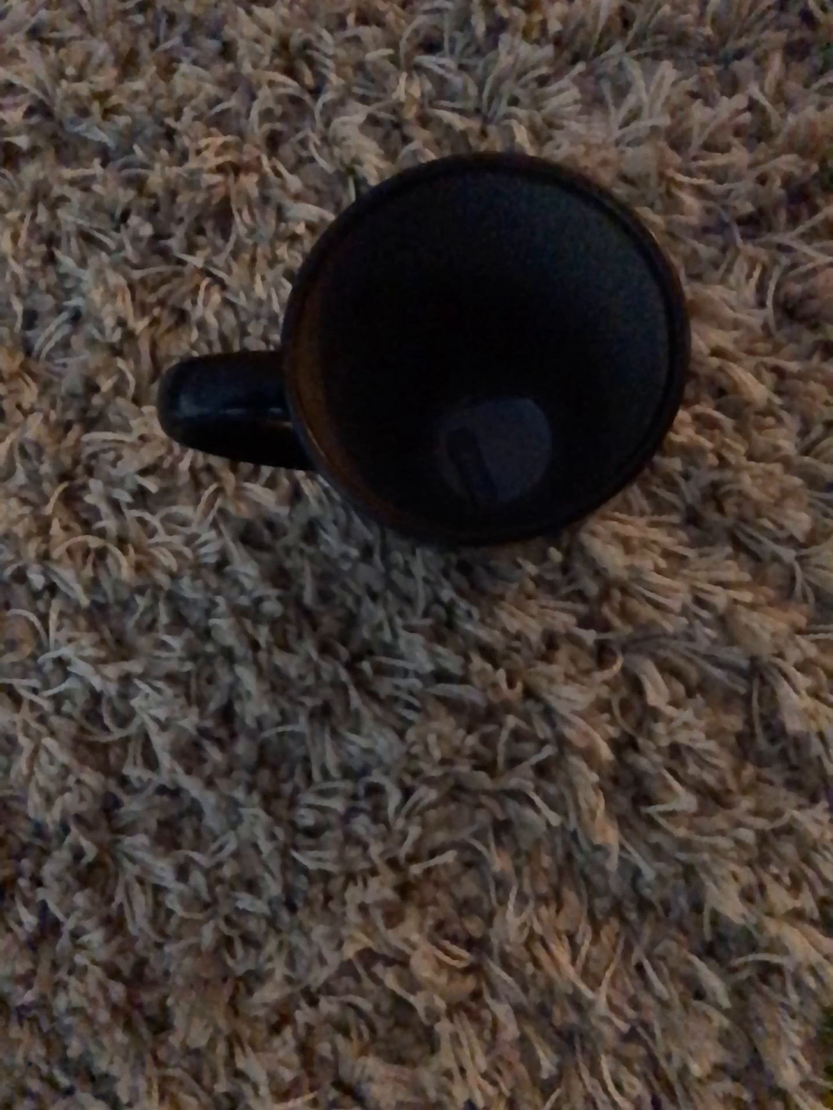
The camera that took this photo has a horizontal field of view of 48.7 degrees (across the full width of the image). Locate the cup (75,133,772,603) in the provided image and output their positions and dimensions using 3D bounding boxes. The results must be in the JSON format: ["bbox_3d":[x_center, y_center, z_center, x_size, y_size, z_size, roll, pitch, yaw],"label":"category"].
[{"bbox_3d":[0.004,-0.039,0.236,0.140,0.090,0.090,1,81,4],"label":"cup"}]
